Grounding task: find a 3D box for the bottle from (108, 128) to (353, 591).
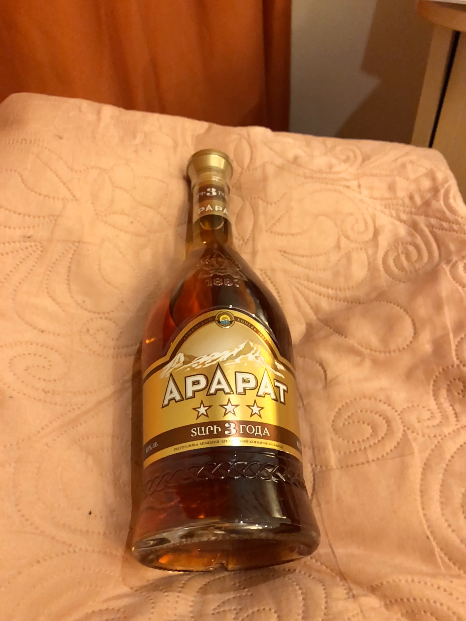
[{"bbox_3d":[-0.011,0.008,0.305,0.090,0.089,0.259,-5,51,-2],"label":"bottle"}]
